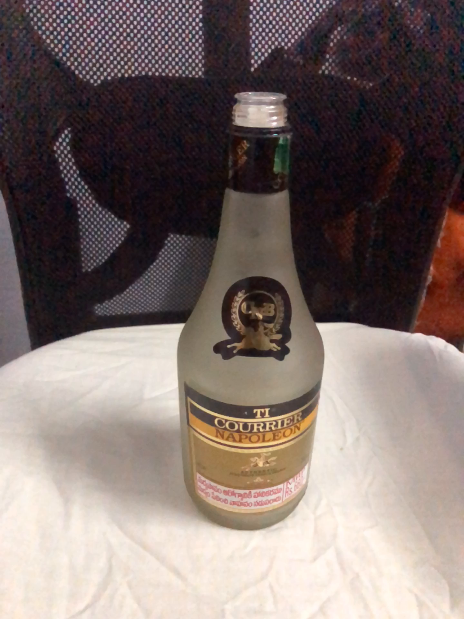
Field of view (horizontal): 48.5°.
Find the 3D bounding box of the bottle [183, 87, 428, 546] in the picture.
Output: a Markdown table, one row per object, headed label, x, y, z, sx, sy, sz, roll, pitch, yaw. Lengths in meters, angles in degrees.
| label | x | y | z | sx | sy | sz | roll | pitch | yaw |
| --- | --- | --- | --- | --- | --- | --- | --- | --- | --- |
| bottle | 0.019 | 0.014 | 0.283 | 0.090 | 0.239 | 0.080 | 0 | 29 | -7 |
